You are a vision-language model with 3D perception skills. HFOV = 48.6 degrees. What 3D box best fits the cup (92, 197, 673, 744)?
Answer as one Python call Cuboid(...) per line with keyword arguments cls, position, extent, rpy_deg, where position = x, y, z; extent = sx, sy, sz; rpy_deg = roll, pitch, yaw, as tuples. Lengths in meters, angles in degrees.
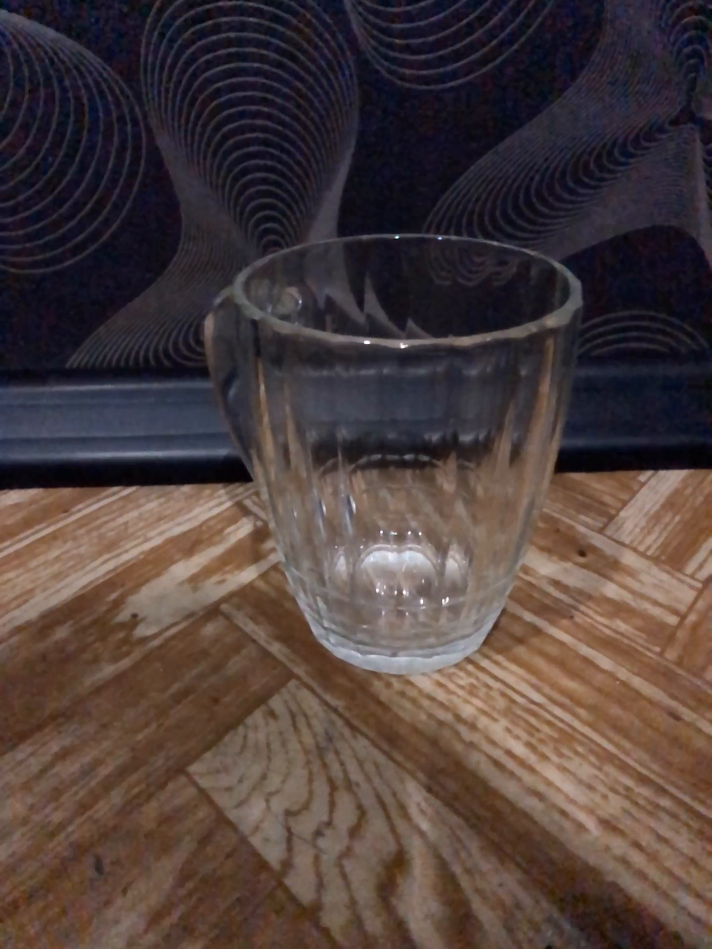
Cuboid(cls="cup", position=(0.006, -0.018, 0.256), extent=(0.114, 0.107, 0.126), rpy_deg=(-26, 38, -35))
